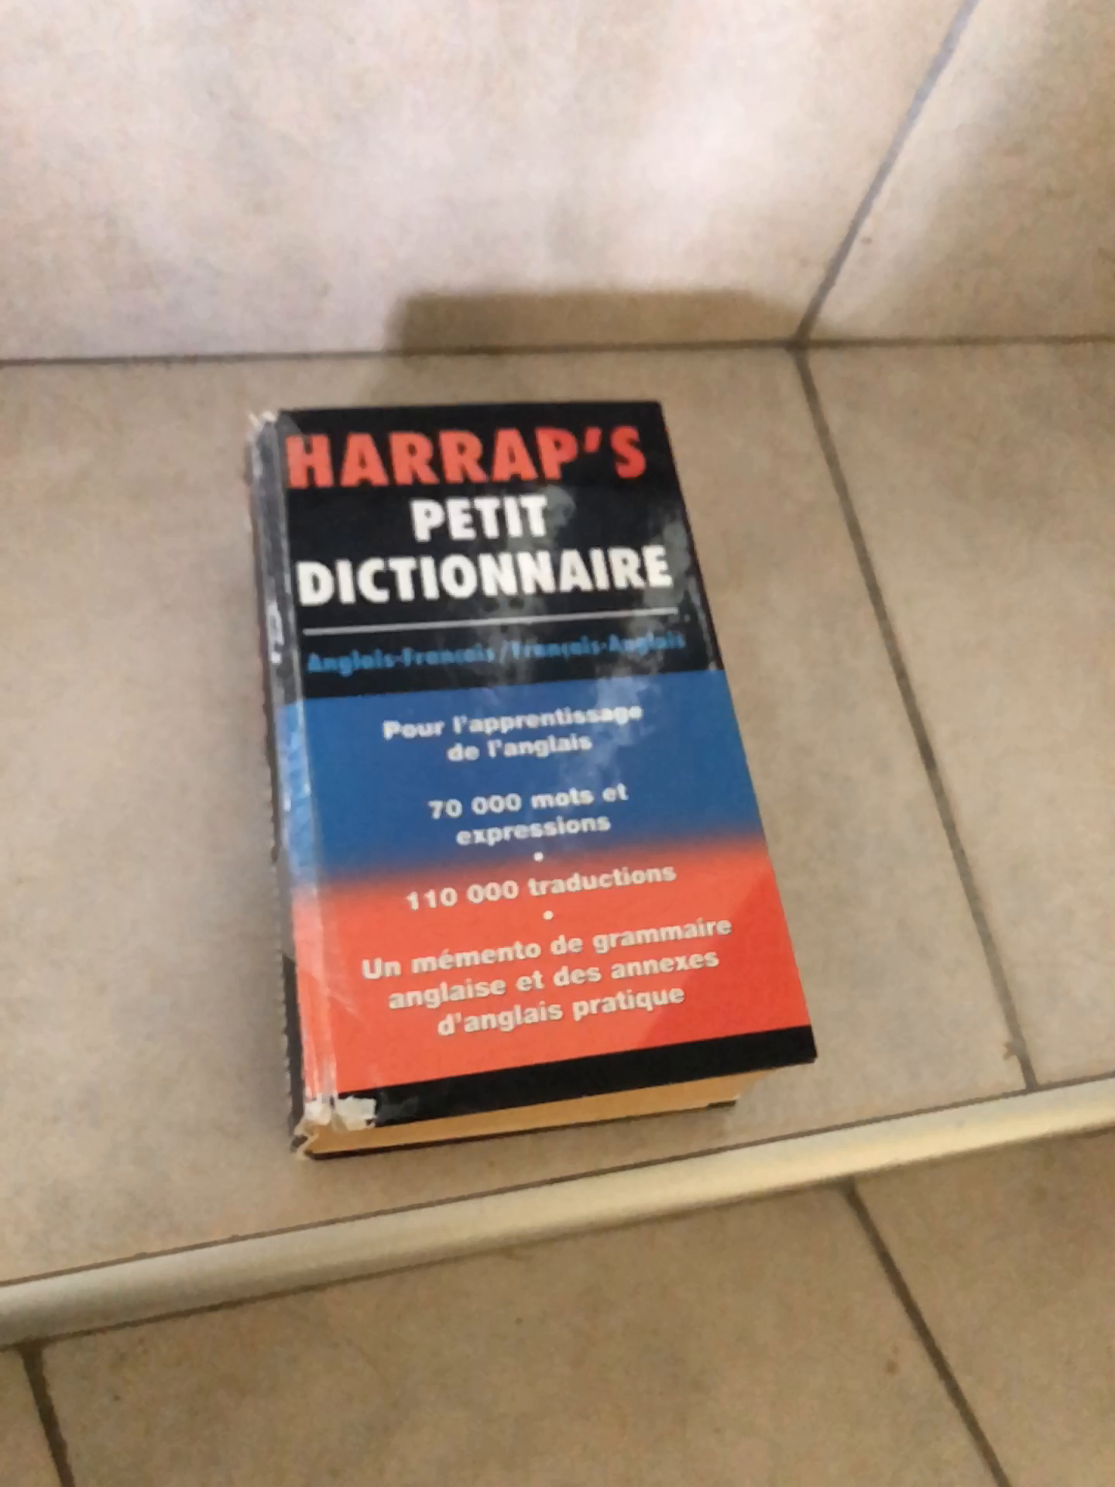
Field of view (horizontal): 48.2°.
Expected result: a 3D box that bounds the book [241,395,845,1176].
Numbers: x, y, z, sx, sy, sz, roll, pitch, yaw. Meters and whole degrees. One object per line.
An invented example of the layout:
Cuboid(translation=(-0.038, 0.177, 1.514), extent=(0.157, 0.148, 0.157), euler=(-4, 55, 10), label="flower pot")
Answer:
Cuboid(translation=(-0.013, 0.002, 0.319), extent=(0.118, 0.050, 0.186), euler=(-5, 66, -13), label="book")
